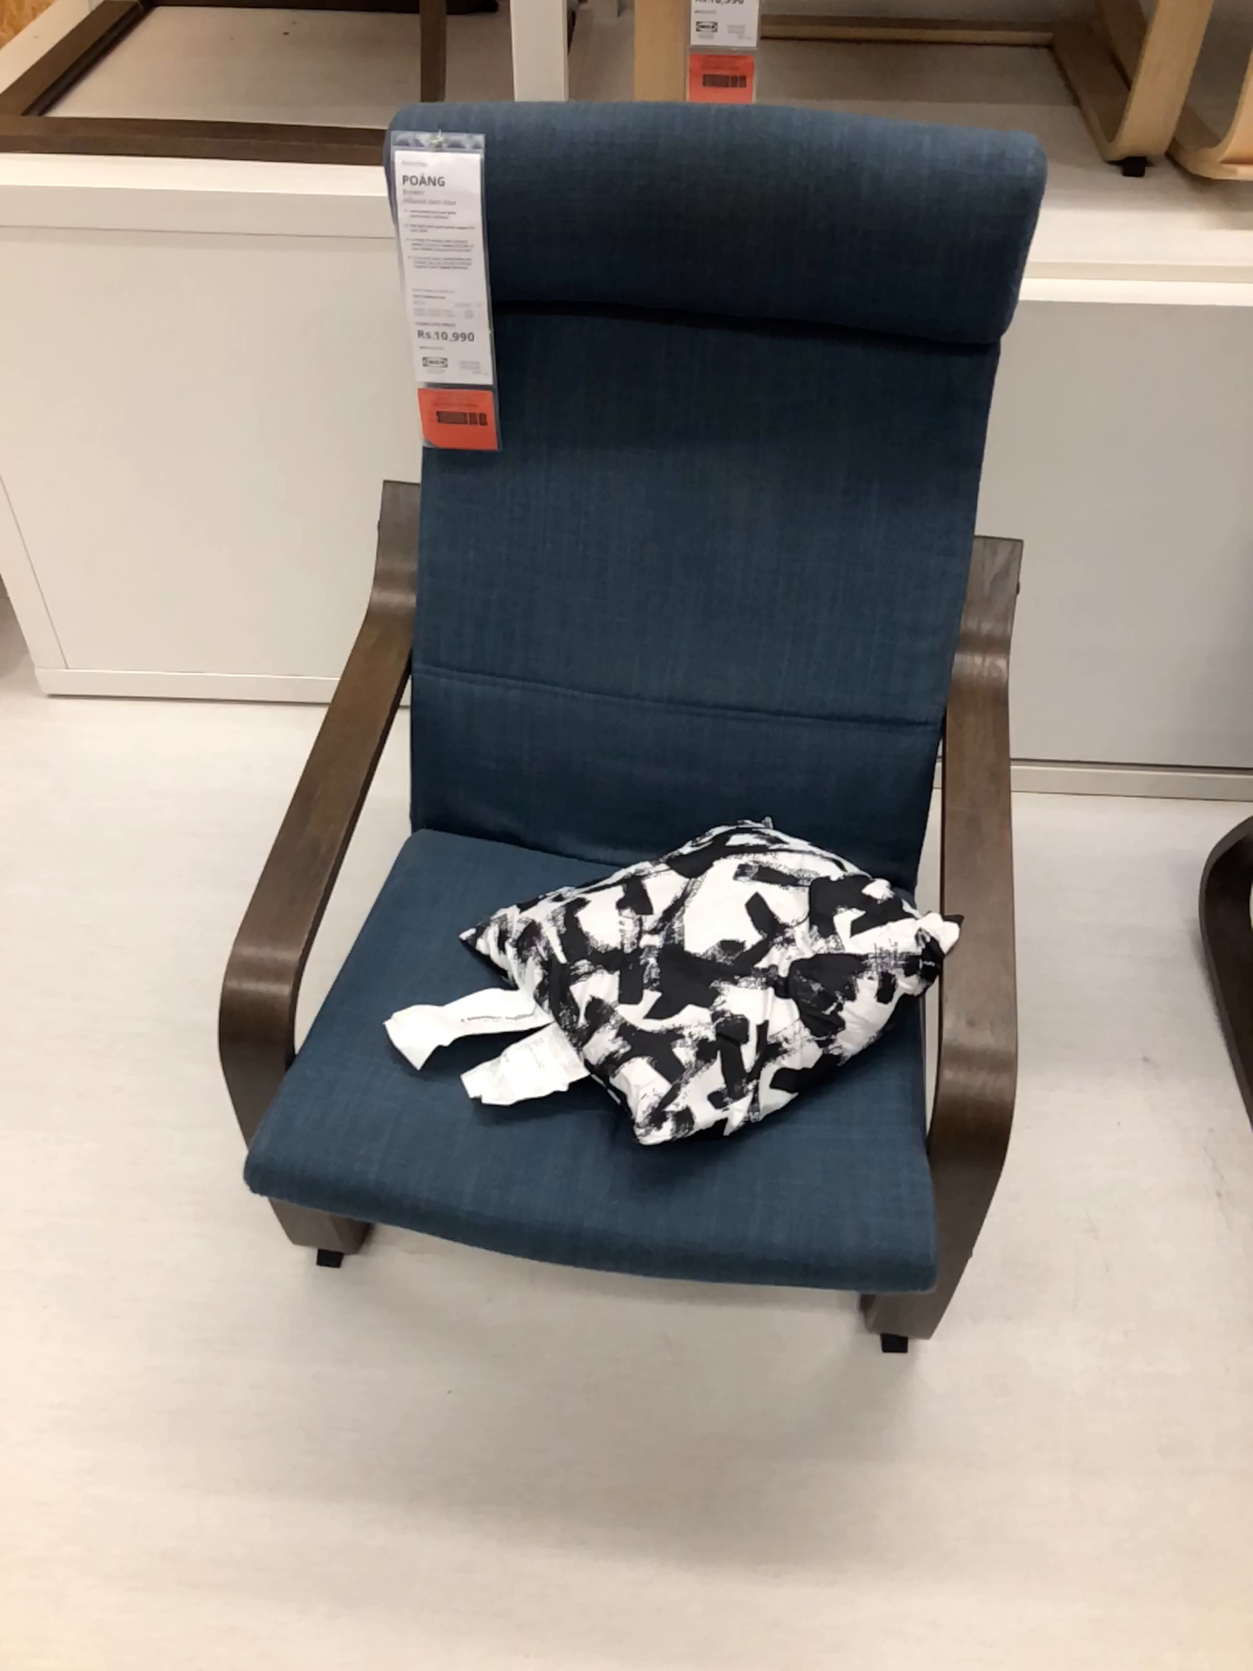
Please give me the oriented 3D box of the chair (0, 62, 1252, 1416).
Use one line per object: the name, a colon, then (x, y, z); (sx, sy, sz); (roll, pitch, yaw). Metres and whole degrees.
chair: (0.010, -0.070, 1.217); (0.720, 0.884, 0.694); (7, 46, 7)
